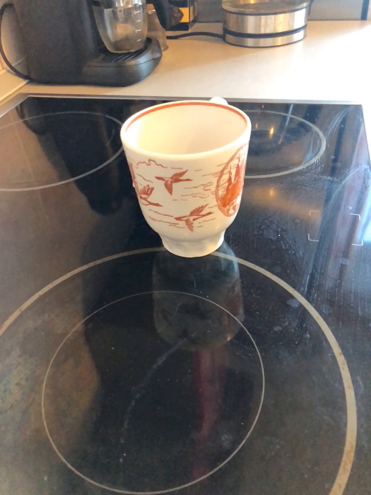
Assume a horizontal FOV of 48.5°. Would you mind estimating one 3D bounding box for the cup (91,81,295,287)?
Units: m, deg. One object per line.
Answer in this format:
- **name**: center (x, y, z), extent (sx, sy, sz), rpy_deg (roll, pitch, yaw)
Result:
- **cup**: center (0.012, -0.055, 0.310), extent (0.090, 0.090, 0.120), rpy_deg (19, 46, 26)
